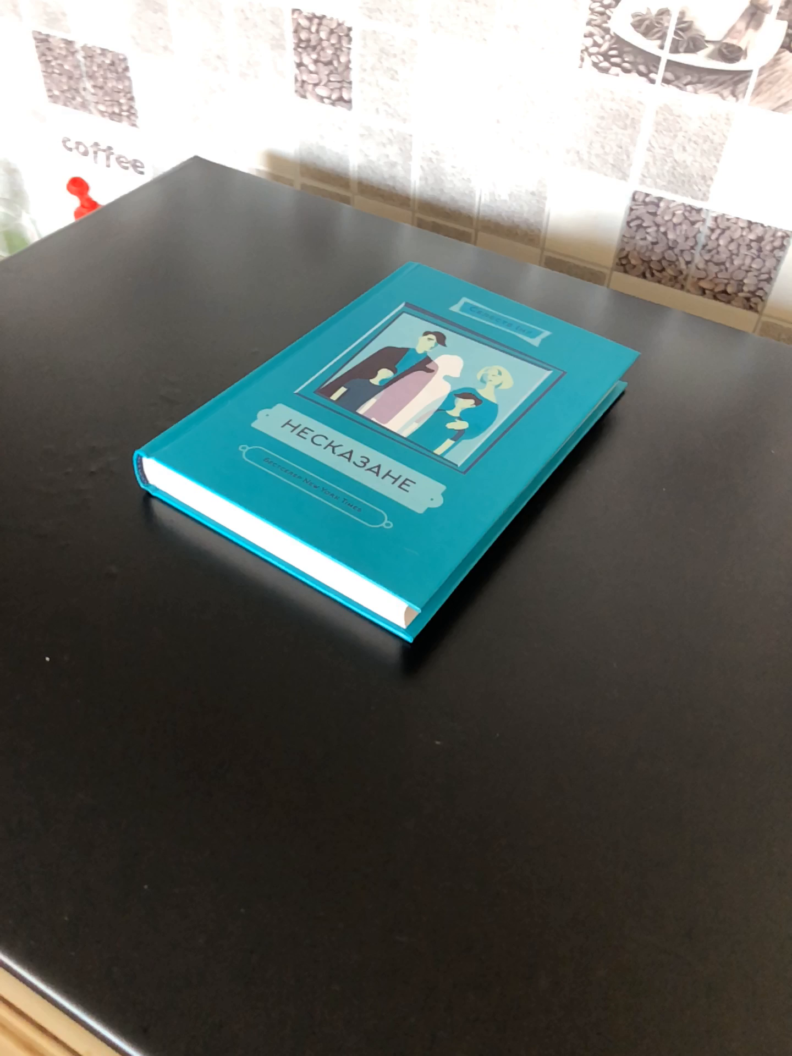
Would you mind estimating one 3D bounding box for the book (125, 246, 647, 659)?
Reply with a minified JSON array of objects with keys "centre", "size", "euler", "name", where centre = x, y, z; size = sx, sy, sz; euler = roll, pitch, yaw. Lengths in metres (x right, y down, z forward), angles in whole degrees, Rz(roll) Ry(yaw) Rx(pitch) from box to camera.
[{"centre":[0.005,-0.054,0.415],"size":[0.150,0.030,0.211],"euler":[28,51,20],"name":"book"}]
